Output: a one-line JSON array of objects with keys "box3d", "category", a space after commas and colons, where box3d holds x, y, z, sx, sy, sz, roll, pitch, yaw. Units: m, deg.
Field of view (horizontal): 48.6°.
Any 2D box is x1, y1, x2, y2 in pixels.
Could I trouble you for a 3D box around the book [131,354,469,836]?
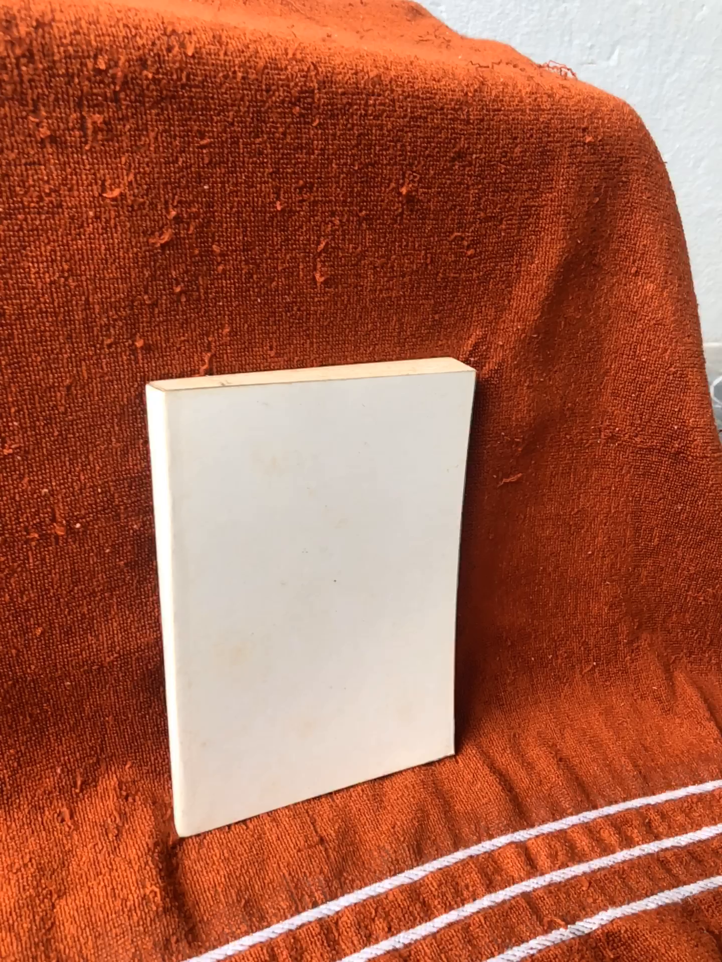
[{"box3d": [-0.020, 0.044, 0.373, 0.151, 0.200, 0.030, -6, 10, -27], "category": "book"}]
